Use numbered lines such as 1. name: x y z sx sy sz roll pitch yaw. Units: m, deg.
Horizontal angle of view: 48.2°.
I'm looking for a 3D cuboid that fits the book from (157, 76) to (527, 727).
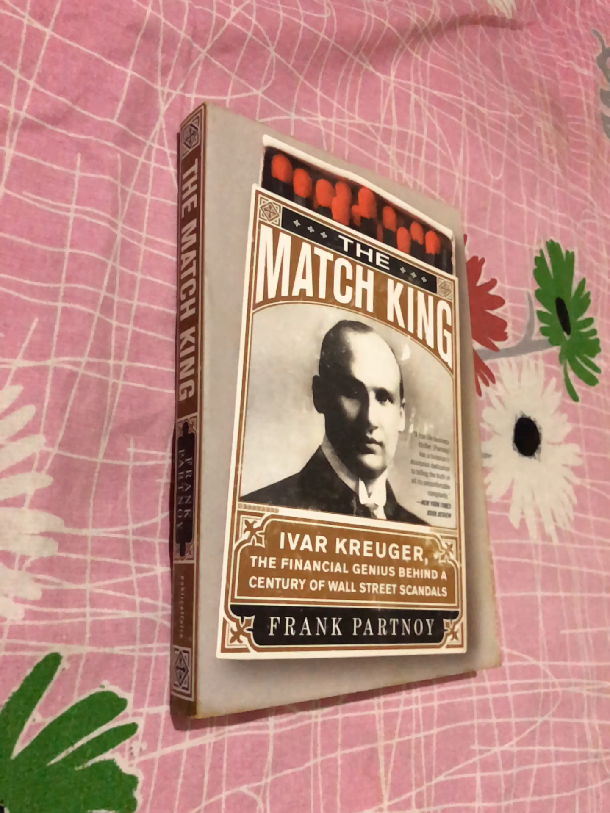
1. book: 0.016 -0.004 0.297 0.161 0.030 0.240 11 66 -38
